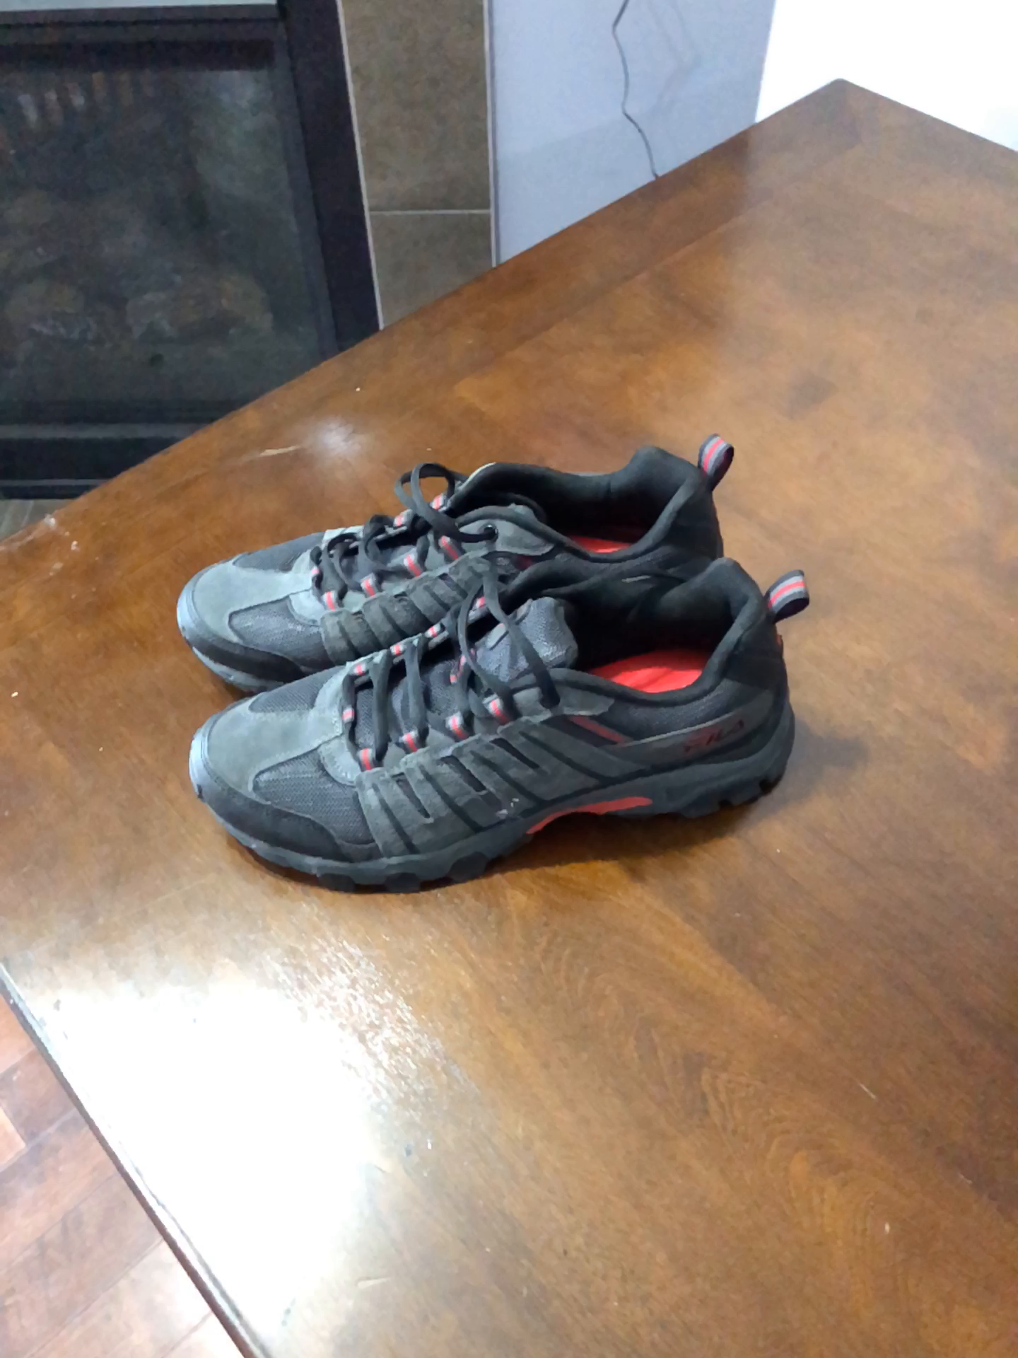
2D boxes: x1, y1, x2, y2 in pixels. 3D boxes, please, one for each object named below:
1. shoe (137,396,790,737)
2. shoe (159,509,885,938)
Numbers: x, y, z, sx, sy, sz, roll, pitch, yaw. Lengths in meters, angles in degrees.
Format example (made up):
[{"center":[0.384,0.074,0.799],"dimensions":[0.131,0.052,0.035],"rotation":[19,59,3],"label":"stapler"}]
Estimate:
[{"center":[-0.023,-0.060,0.591],"dimensions":[0.300,0.100,0.120],"rotation":[-5,53,-2],"label":"shoe"},{"center":[0.000,0.019,0.532],"dimensions":[0.300,0.100,0.120],"rotation":[-9,53,-6],"label":"shoe"}]
